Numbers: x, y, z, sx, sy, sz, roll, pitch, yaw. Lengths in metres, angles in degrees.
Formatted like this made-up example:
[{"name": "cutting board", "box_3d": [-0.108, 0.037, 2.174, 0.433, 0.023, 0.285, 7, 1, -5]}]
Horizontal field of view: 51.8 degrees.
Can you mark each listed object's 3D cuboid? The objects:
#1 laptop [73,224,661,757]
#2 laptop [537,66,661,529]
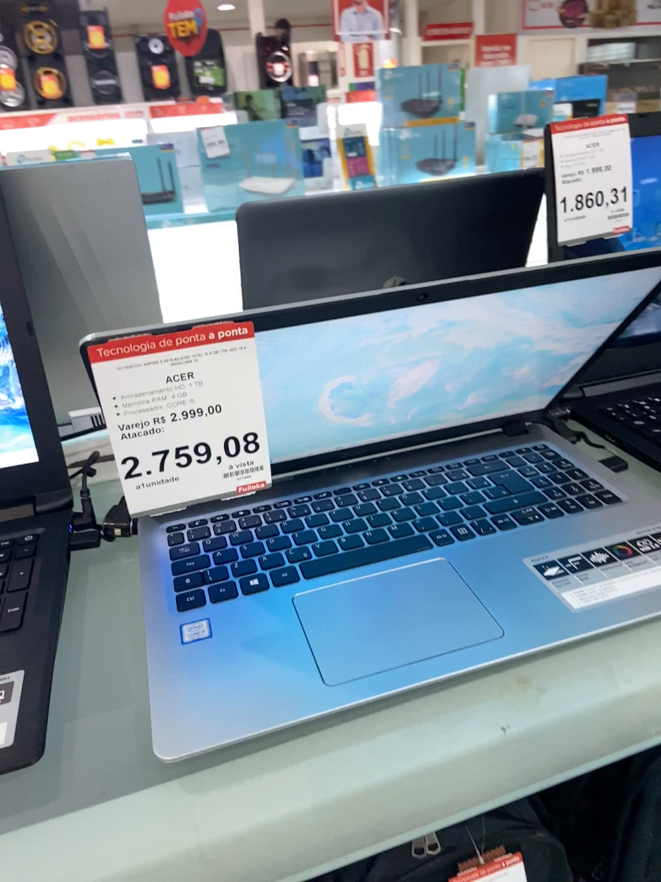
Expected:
[{"name": "laptop", "box_3d": [0.046, -0.013, 0.431, 0.353, 0.175, 0.237, -11, 26, -14]}, {"name": "laptop", "box_3d": [0.415, -0.143, 0.557, 0.354, 0.239, 0.289, -12, 26, -12]}]
